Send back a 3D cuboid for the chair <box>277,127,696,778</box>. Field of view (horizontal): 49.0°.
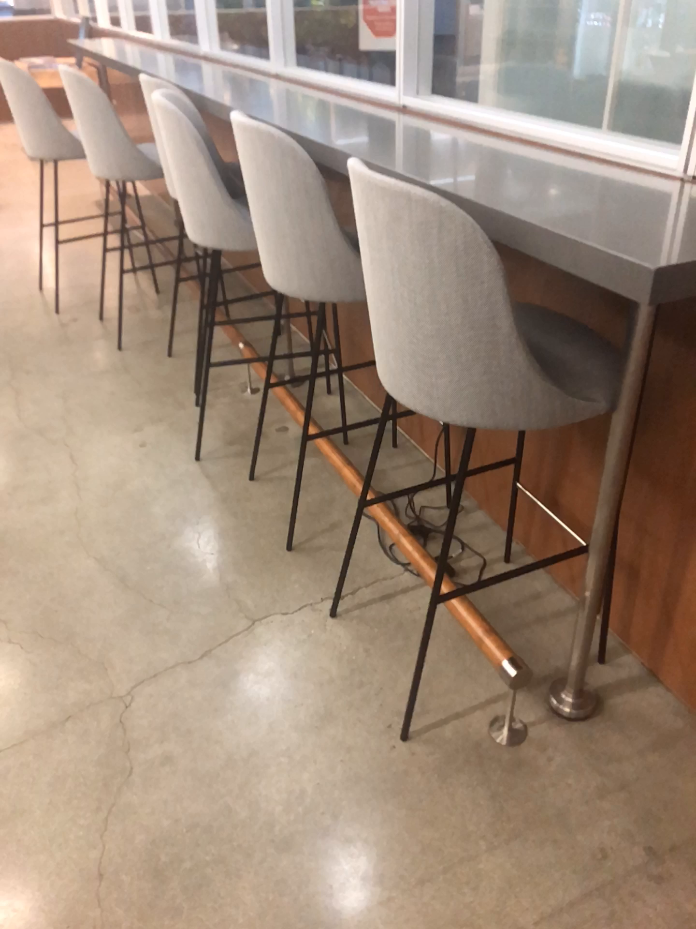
[{"bbox_3d":[0.250,-0.016,1.618,0.592,1.180,0.493,-13,33,-18],"label":"chair"}]

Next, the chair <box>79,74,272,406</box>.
[{"bbox_3d":[-0.884,-1.189,4.053,0.622,1.487,0.714,-17,35,-22],"label":"chair"}]
